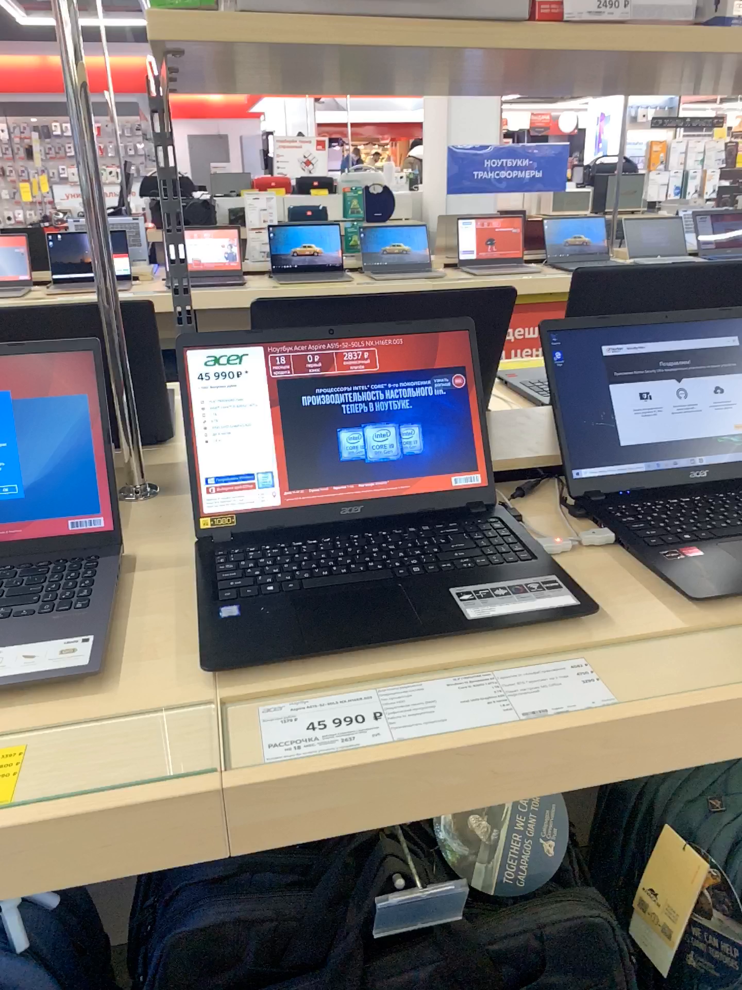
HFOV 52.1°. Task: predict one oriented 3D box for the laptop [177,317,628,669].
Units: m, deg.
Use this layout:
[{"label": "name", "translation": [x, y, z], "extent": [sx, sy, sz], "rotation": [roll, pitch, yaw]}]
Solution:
[{"label": "laptop", "translation": [-0.005, -0.039, 0.802], "extent": [0.368, 0.208, 0.366], "rotation": [-6, 24, -12]}]
